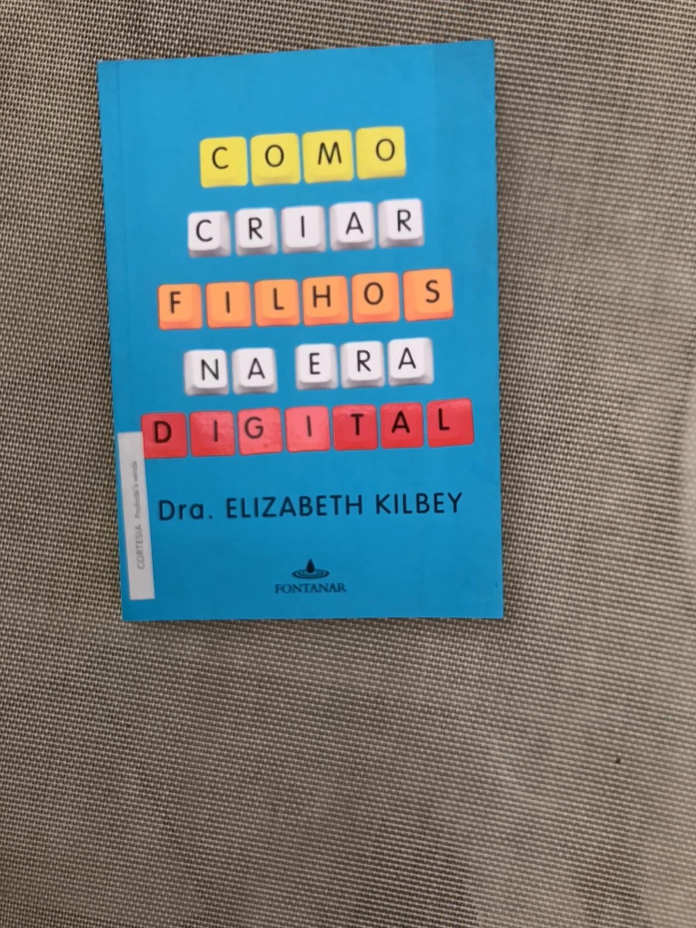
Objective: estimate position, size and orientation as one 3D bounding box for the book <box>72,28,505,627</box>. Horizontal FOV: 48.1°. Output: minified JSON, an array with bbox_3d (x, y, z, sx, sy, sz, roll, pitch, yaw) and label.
[{"bbox_3d":[-0.023,-0.051,0.318,0.163,0.020,0.228,-2,92,3],"label":"book"}]
